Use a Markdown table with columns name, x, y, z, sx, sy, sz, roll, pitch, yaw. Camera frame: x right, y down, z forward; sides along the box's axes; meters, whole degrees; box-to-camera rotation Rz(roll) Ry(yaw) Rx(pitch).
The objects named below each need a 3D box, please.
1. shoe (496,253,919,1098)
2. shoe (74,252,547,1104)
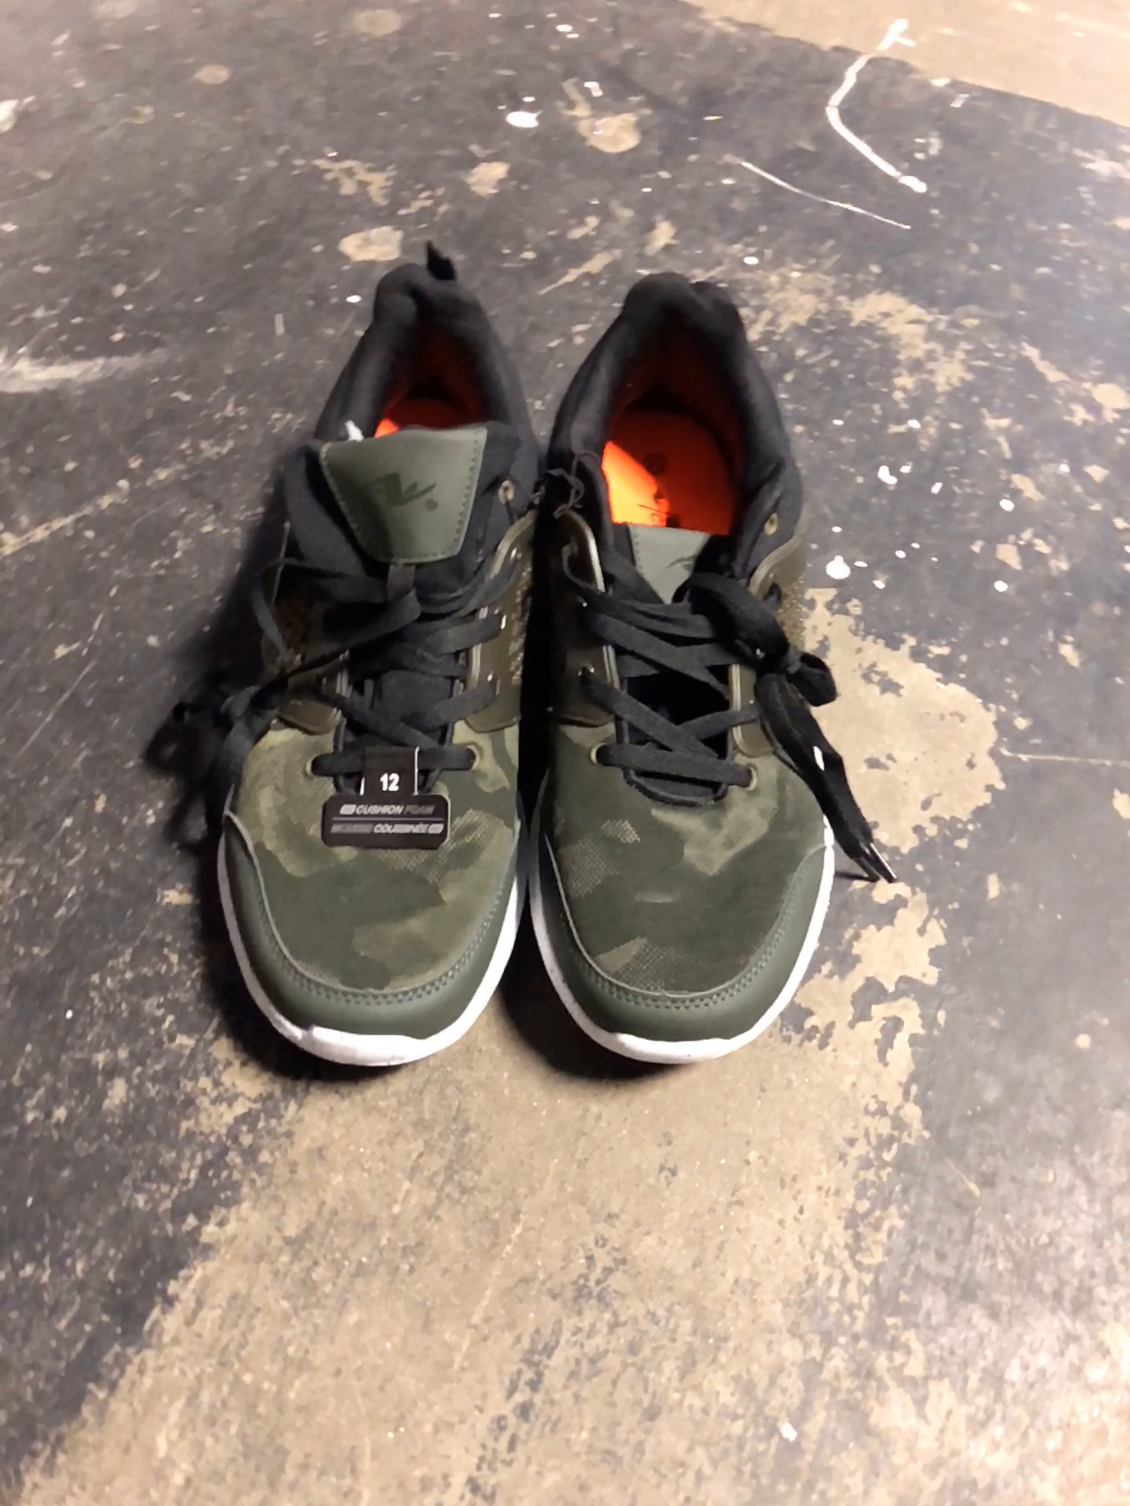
| name | x | y | z | sx | sy | sz | roll | pitch | yaw |
| --- | --- | --- | --- | --- | --- | --- | --- | --- | --- |
| shoe | 0.044 | -0.032 | 0.448 | 0.110 | 0.129 | 0.272 | 4 | 60 | 0 |
| shoe | -0.073 | -0.037 | 0.472 | 0.110 | 0.119 | 0.302 | 4 | 60 | 0 |
